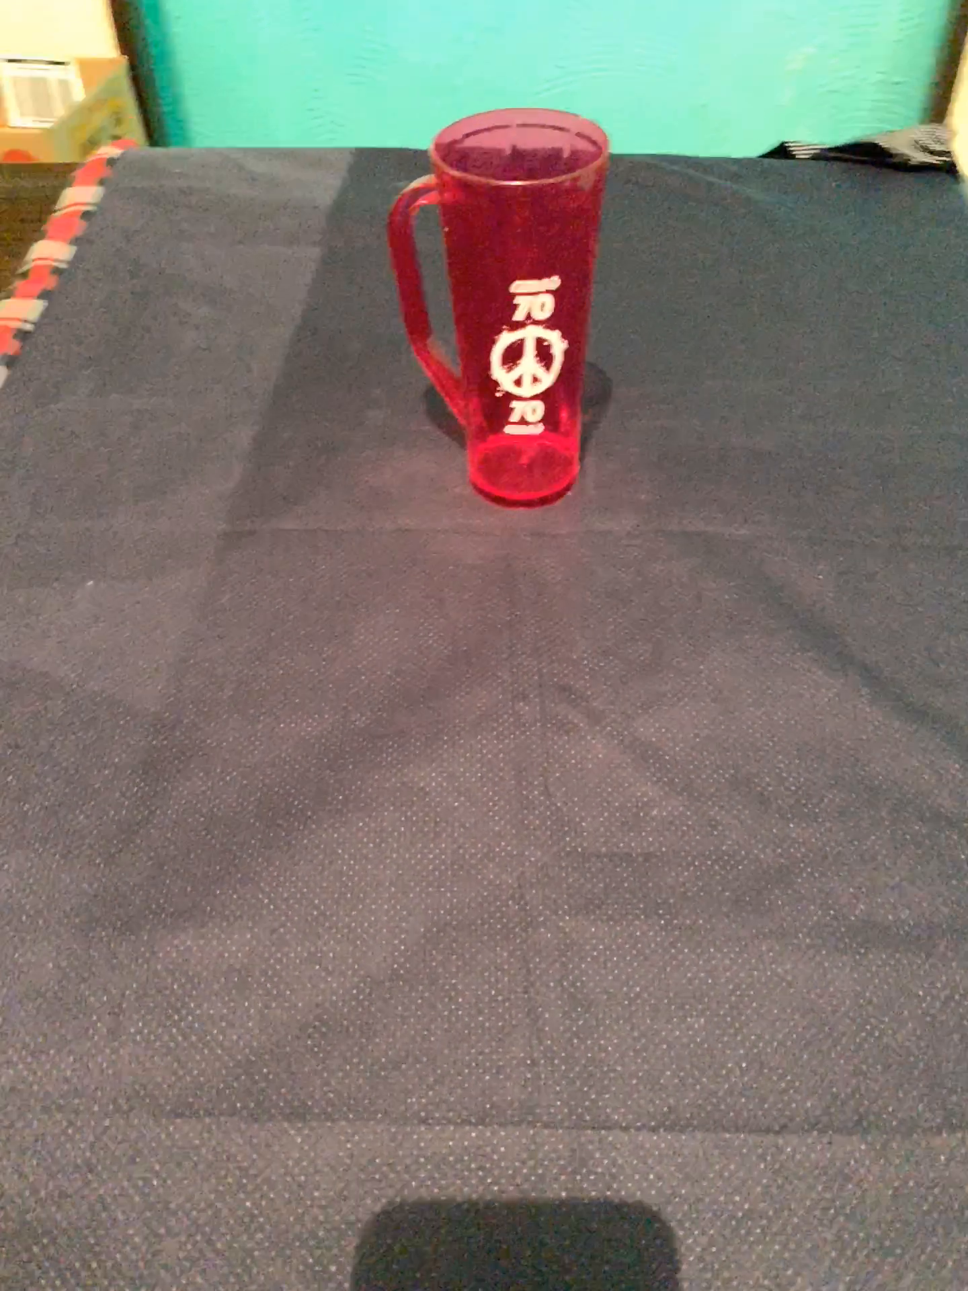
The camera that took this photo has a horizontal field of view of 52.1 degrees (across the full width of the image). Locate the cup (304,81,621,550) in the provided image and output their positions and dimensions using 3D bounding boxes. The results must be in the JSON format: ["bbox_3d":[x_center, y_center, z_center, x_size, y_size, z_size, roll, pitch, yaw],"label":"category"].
[{"bbox_3d":[-0.005,-0.140,0.442,0.100,0.169,0.070,19,53,17],"label":"cup"}]
